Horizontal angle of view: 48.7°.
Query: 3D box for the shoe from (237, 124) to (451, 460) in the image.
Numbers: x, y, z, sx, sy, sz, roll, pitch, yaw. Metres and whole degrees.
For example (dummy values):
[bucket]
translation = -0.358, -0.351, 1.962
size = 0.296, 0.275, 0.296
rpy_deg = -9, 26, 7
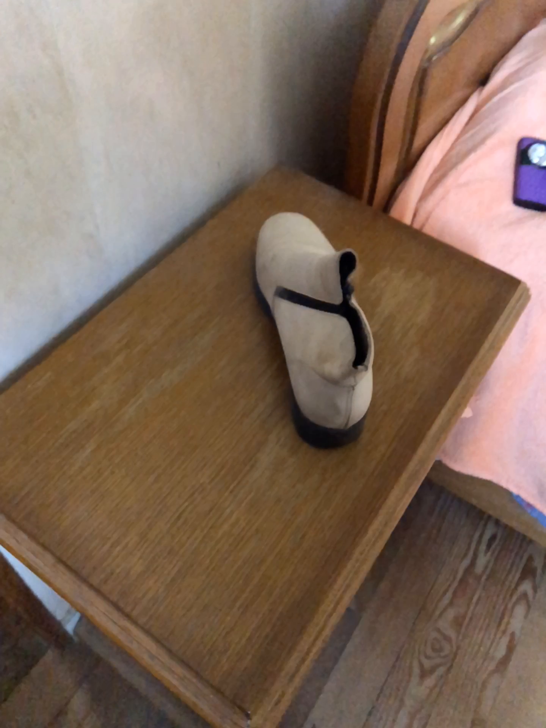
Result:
[shoe]
translation = 0.041, -0.074, 0.531
size = 0.100, 0.129, 0.271
rpy_deg = -8, 53, -9
